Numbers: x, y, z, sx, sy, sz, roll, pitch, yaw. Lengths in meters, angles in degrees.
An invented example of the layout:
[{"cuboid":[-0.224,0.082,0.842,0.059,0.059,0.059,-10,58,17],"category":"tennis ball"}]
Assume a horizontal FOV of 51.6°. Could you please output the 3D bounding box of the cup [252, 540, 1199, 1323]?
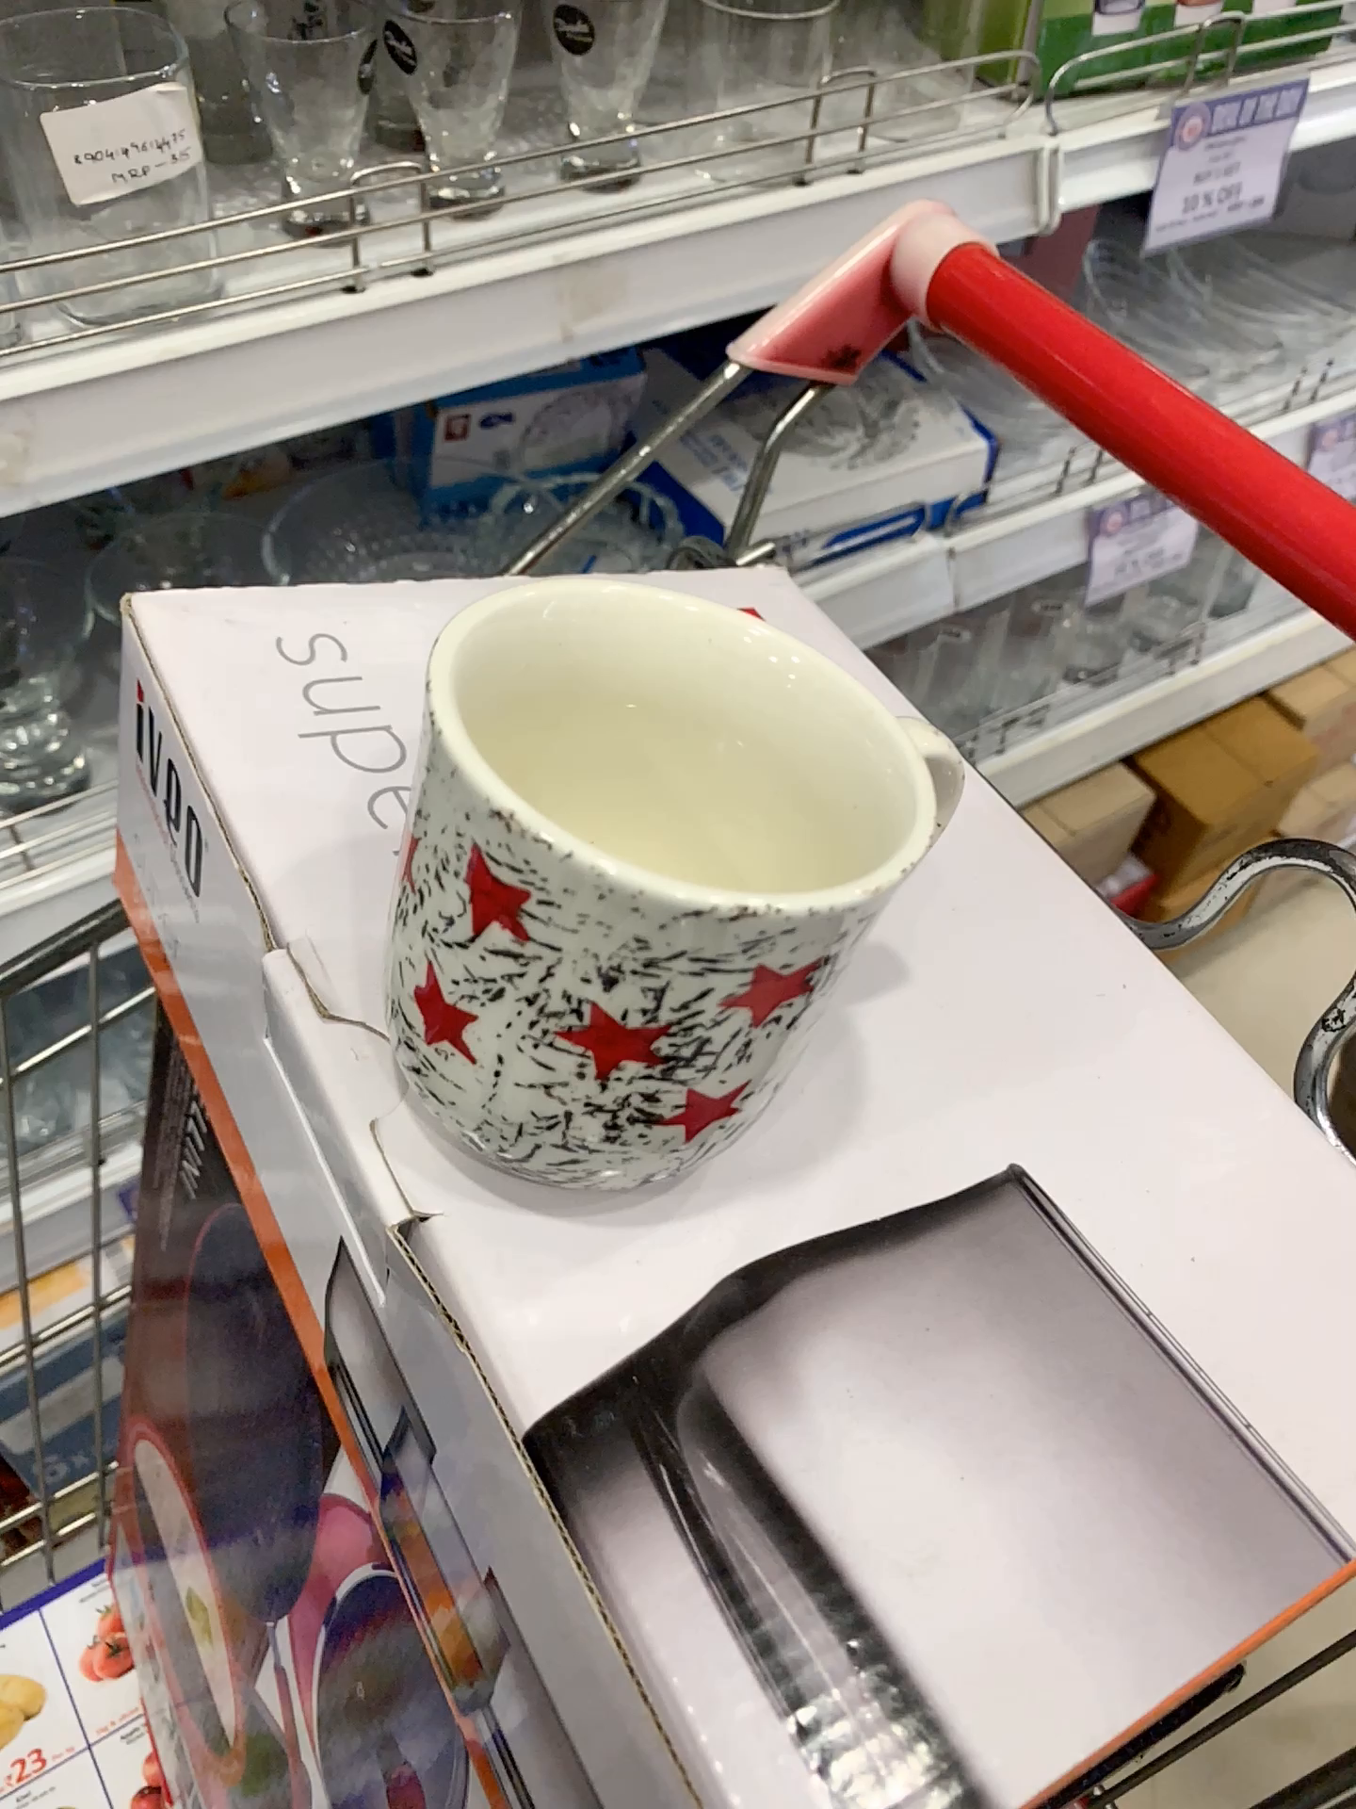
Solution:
[{"cuboid":[0.004,0.000,0.207,0.100,0.070,0.070,-5,47,-38],"category":"cup"}]
